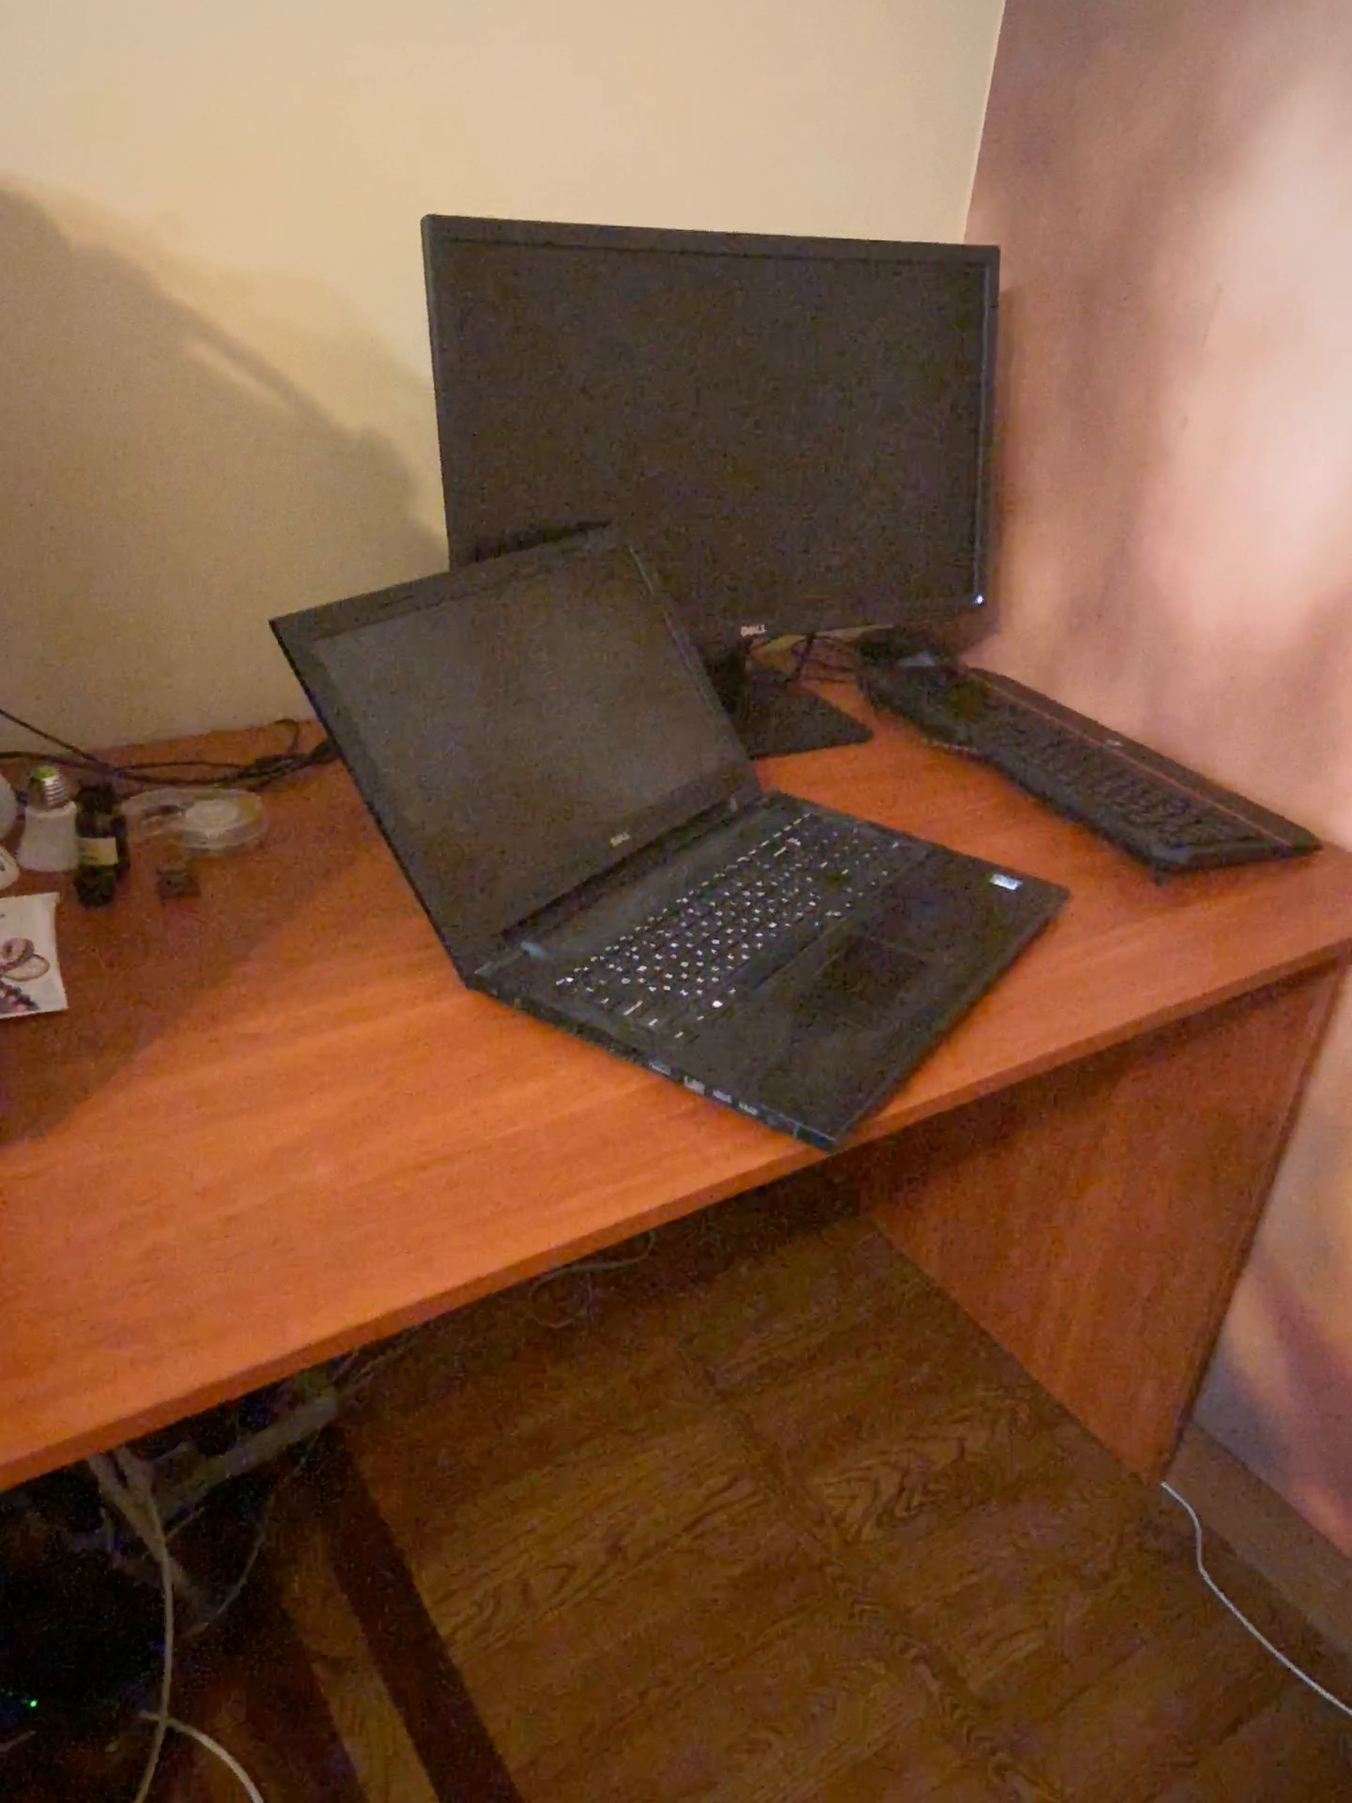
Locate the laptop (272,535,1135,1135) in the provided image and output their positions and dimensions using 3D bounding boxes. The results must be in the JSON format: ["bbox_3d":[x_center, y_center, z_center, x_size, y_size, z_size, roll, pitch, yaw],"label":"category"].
[{"bbox_3d":[0.023,-0.083,0.876,0.392,0.181,0.357,21,31,28],"label":"laptop"}]
